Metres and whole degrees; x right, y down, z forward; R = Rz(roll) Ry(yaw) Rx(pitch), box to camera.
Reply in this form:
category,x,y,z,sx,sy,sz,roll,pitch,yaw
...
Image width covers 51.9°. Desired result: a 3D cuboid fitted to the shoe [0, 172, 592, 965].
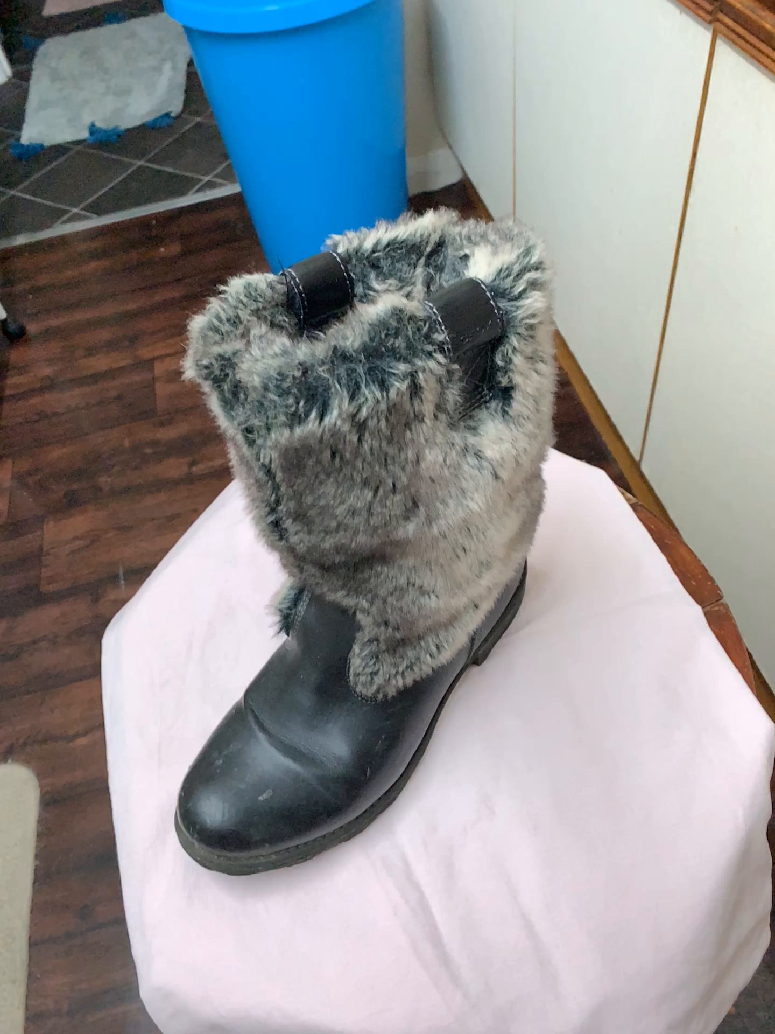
category,x,y,z,sx,sy,sz,roll,pitch,yaw
shoe,-0.039,0.028,0.376,0.121,0.238,0.271,31,62,29
